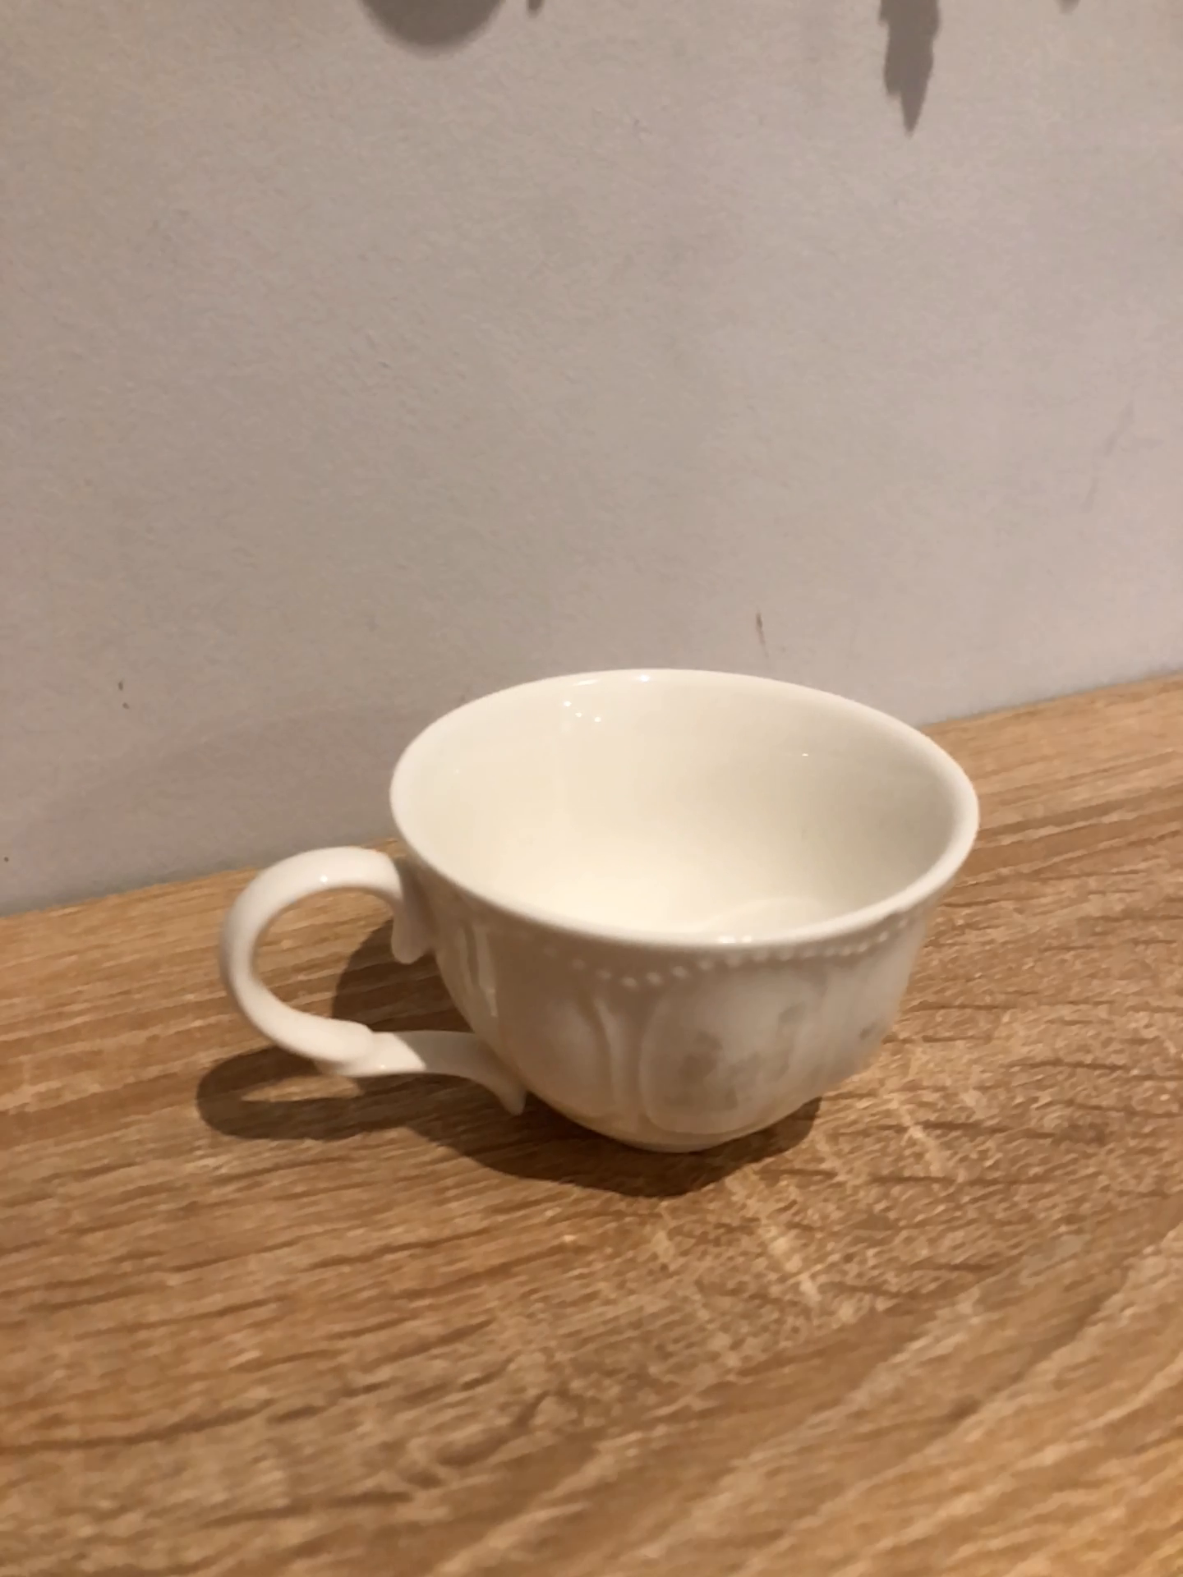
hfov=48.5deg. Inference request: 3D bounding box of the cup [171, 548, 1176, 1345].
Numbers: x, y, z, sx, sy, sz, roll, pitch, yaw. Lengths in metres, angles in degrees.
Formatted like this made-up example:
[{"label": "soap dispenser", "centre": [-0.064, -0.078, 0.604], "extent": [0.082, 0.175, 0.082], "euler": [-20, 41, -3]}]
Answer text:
[{"label": "cup", "centre": [0.009, 0.010, 0.164], "extent": [0.100, 0.050, 0.060], "euler": [-14, 31, -25]}]
